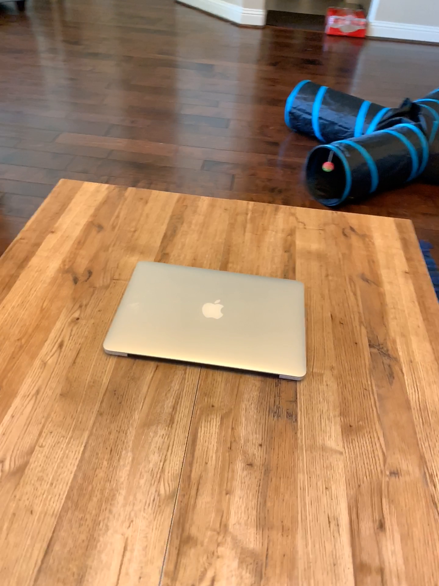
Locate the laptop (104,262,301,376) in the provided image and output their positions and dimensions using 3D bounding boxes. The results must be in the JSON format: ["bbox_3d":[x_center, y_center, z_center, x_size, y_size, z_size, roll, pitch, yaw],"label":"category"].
[{"bbox_3d":[-0.014,0.032,0.747,0.298,0.002,0.209,8,42,3],"label":"laptop"}]
